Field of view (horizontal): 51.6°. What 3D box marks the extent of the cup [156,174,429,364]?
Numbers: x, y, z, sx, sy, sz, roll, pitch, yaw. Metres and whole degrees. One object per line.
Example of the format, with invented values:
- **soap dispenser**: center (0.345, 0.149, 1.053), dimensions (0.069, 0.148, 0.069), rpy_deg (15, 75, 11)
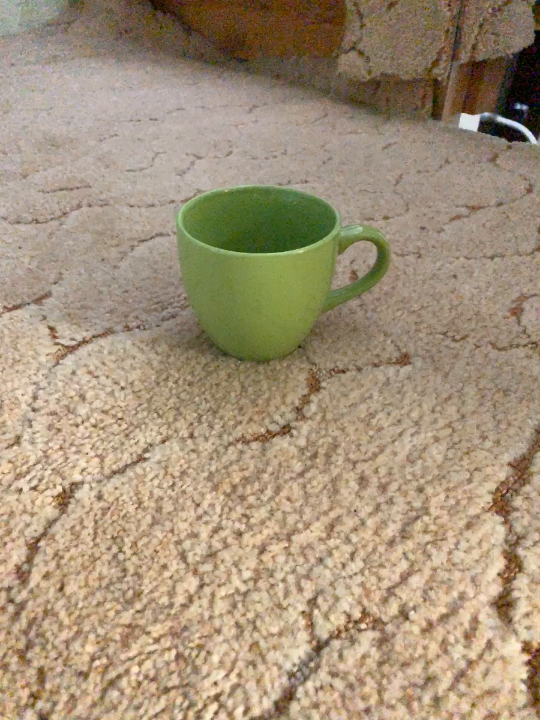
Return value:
- **cup**: center (0.005, -0.053, 0.295), dimensions (0.120, 0.059, 0.091), rpy_deg (-5, 34, -8)
